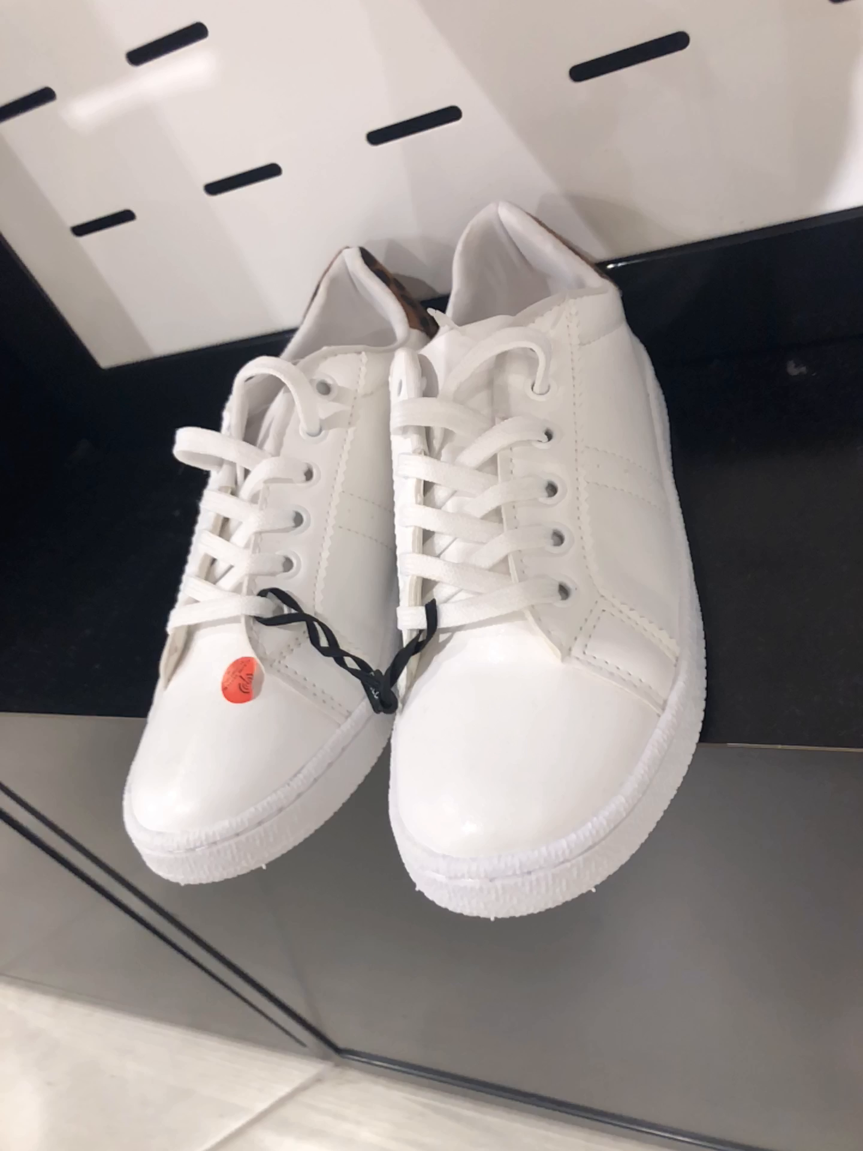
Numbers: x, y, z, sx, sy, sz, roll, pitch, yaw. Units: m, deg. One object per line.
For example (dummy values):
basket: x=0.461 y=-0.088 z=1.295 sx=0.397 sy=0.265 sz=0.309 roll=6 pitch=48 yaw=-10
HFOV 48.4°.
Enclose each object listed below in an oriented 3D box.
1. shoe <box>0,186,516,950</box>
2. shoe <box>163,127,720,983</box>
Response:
shoe: x=-0.051 y=-0.011 z=0.315 sx=0.090 sy=0.099 sz=0.221 roll=-5 pitch=49 yaw=28
shoe: x=0.023 y=-0.014 z=0.277 sx=0.090 sy=0.099 sz=0.221 roll=-9 pitch=48 yaw=24
